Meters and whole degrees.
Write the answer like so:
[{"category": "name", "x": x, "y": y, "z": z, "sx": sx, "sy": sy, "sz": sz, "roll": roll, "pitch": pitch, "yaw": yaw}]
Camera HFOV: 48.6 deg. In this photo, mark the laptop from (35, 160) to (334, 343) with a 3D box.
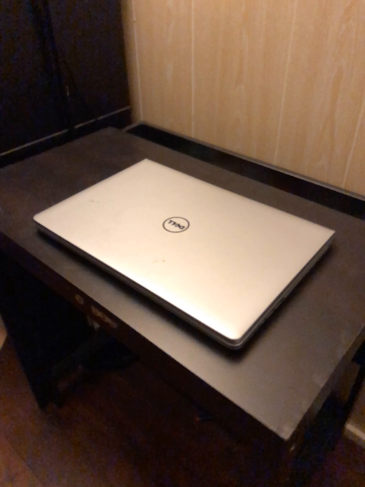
[{"category": "laptop", "x": -0.006, "y": -0.027, "z": 0.598, "sx": 0.371, "sy": 0.003, "sz": 0.250, "roll": 26, "pitch": 46, "yaw": 32}]
